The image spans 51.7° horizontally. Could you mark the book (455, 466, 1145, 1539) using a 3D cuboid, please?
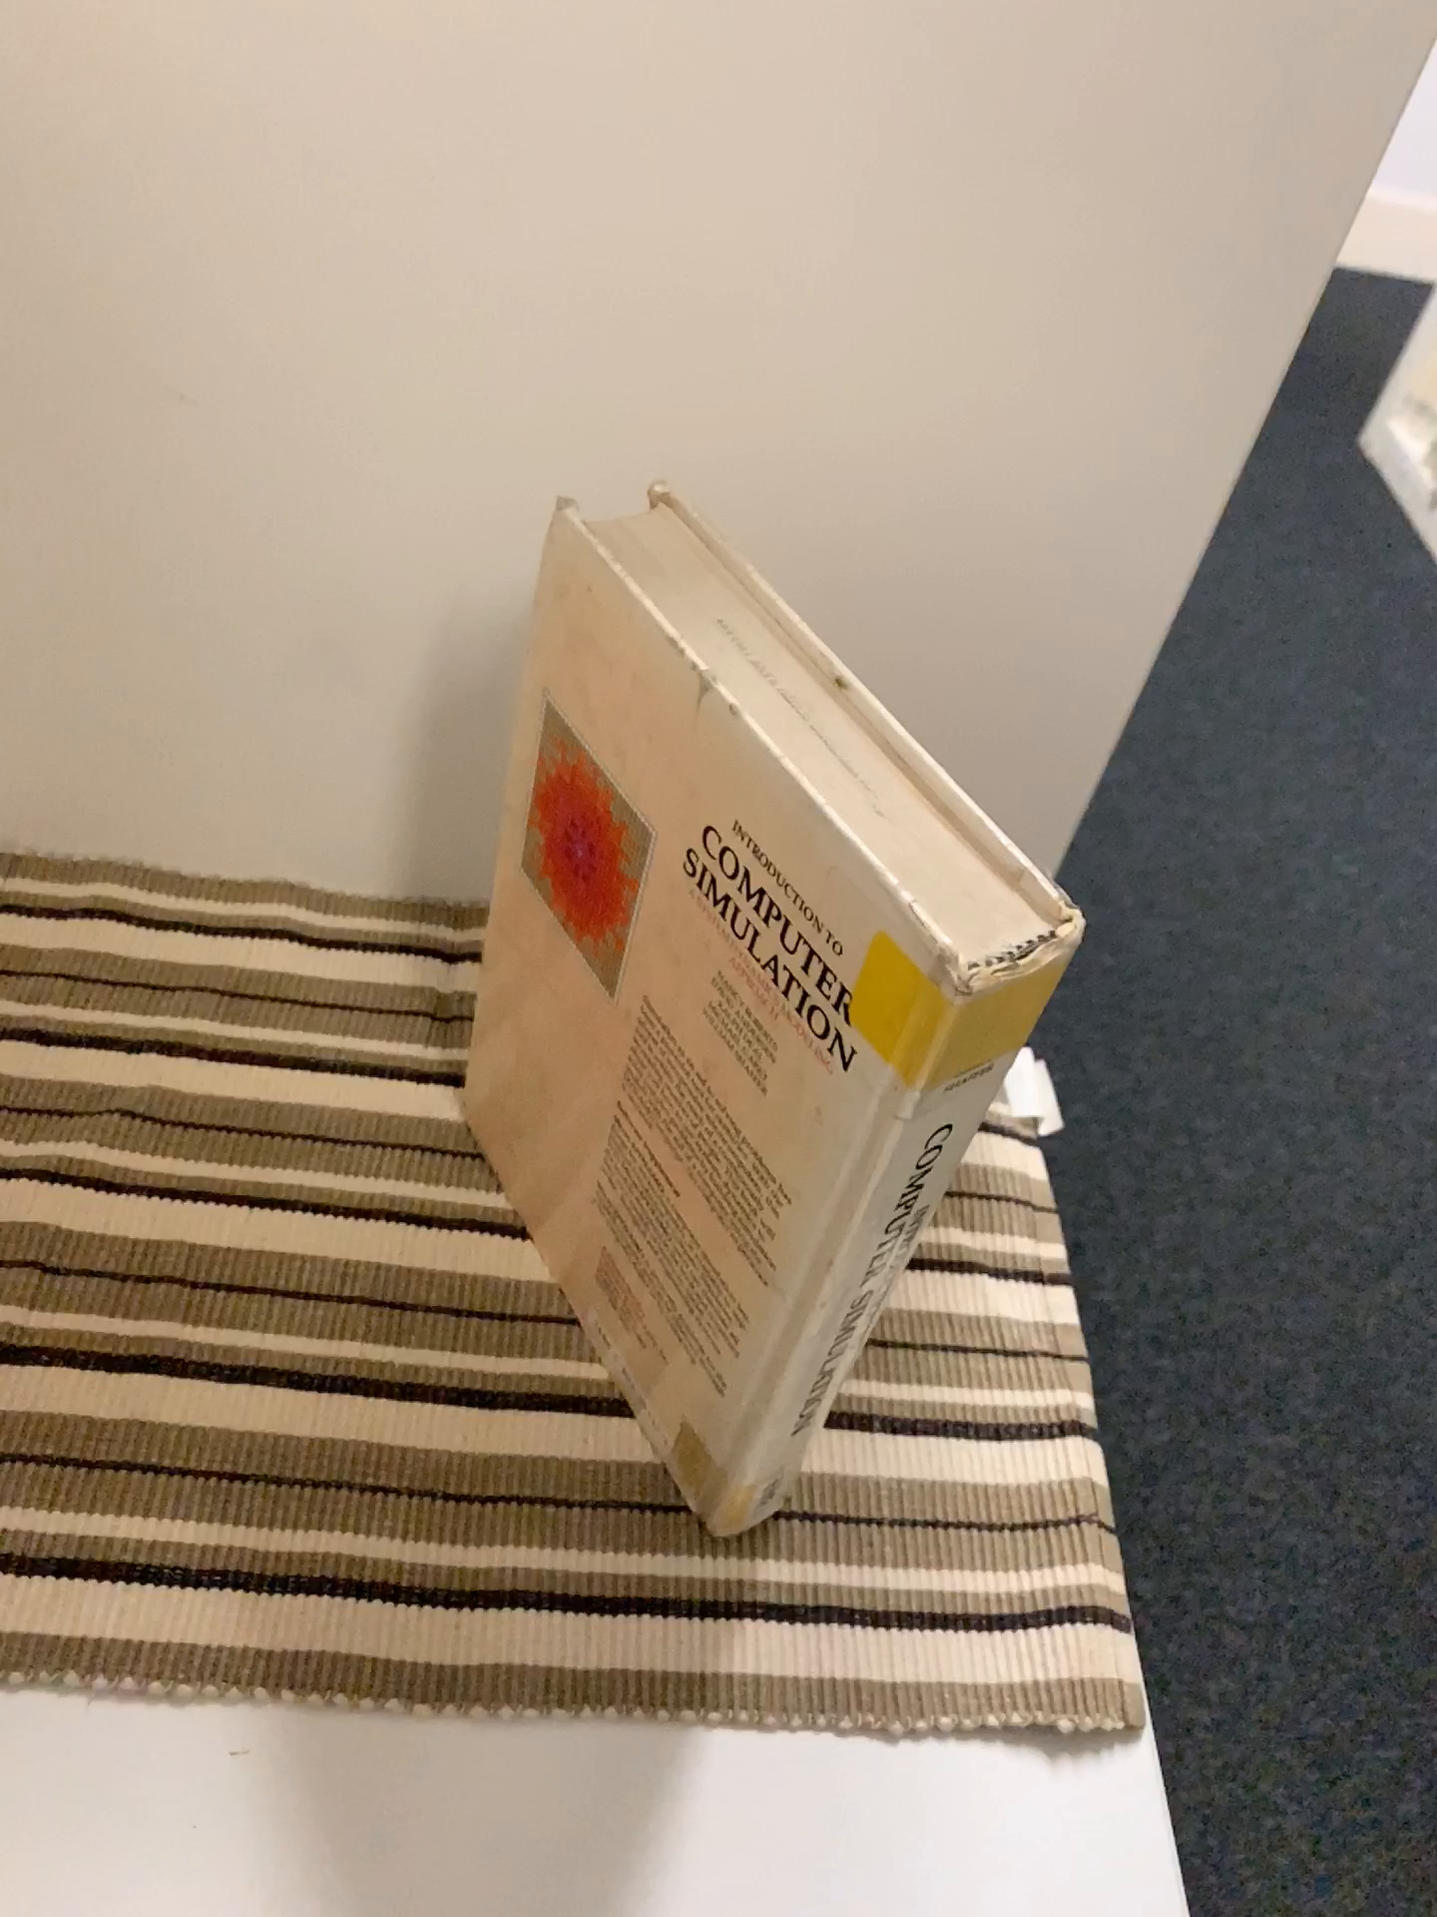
[{"bbox_3d":[-0.005,0.022,0.400,0.040,0.238,0.171,-19,53,-31],"label":"book"}]
